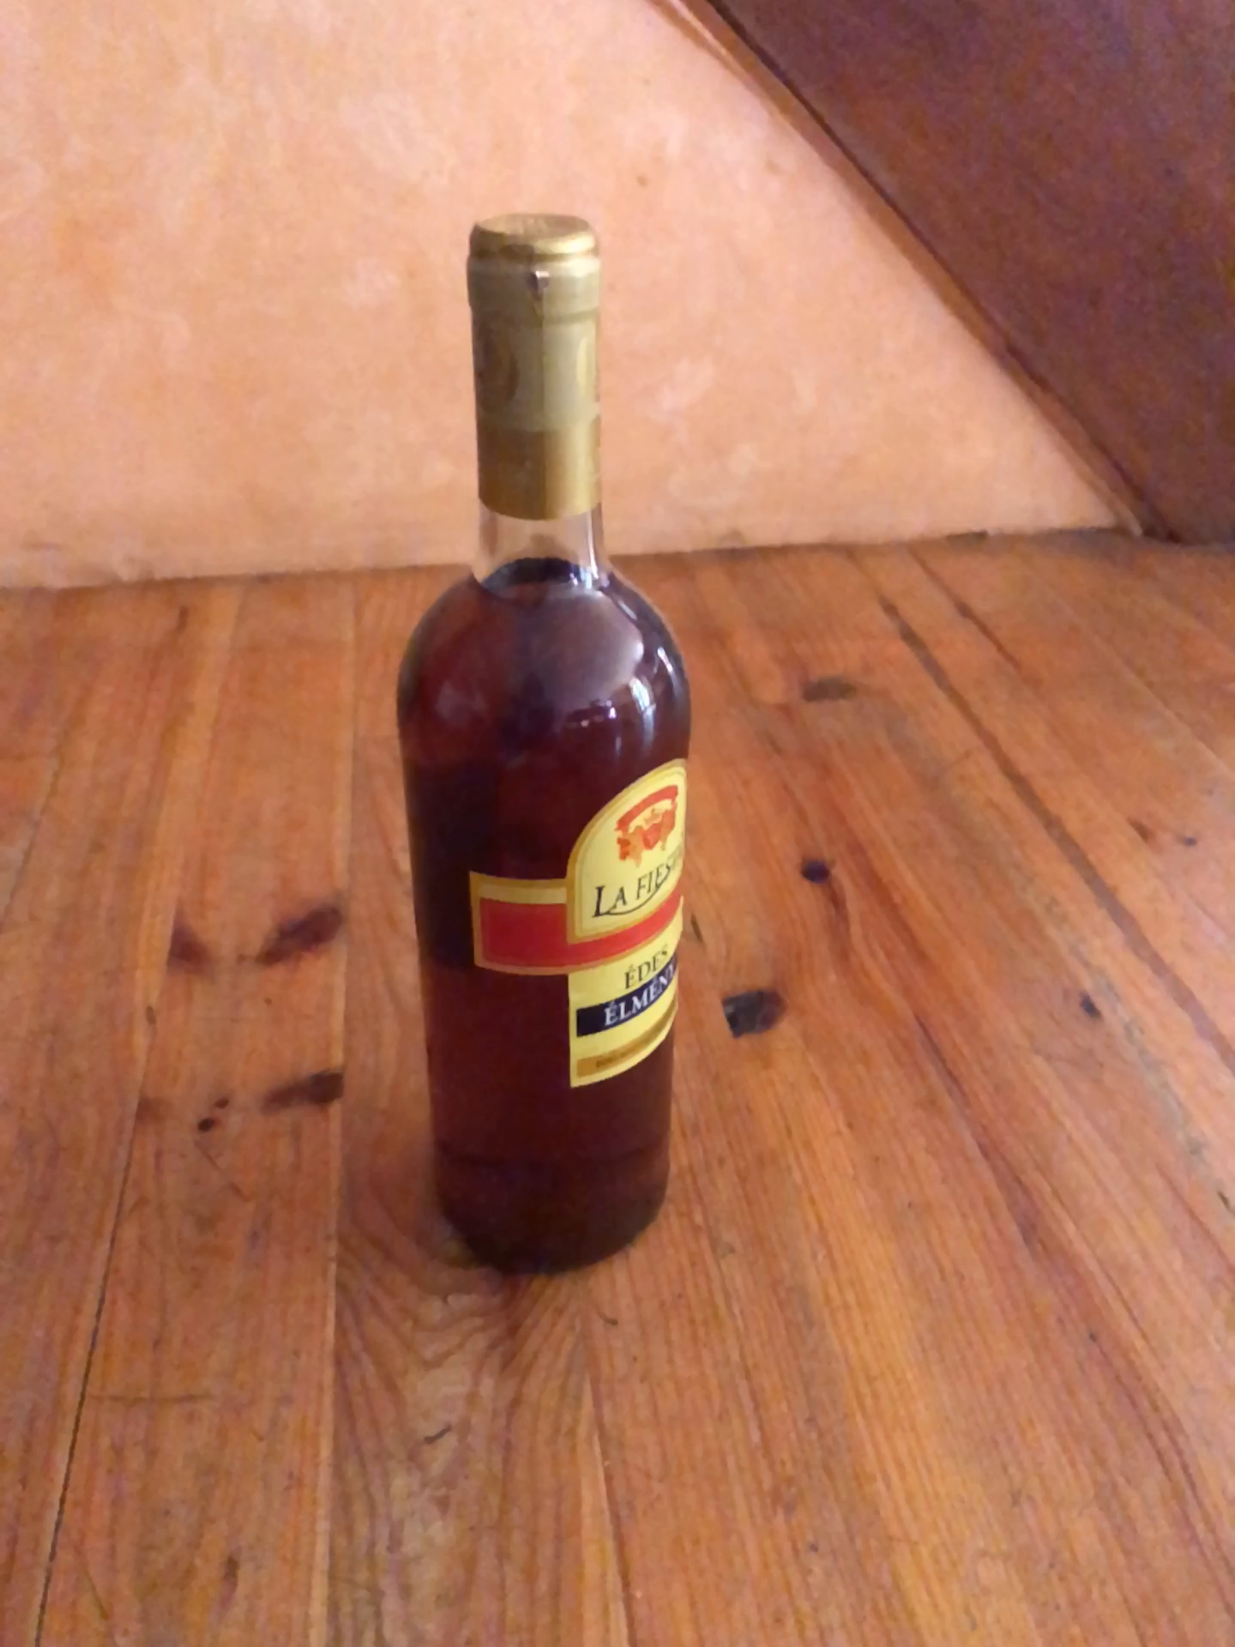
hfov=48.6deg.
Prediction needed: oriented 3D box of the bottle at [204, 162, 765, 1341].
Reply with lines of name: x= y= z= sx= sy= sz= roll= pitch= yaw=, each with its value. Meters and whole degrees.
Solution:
bottle: x=-0.026 y=-0.005 z=0.356 sx=0.080 sy=0.288 sz=0.080 roll=0 pitch=33 yaw=0
